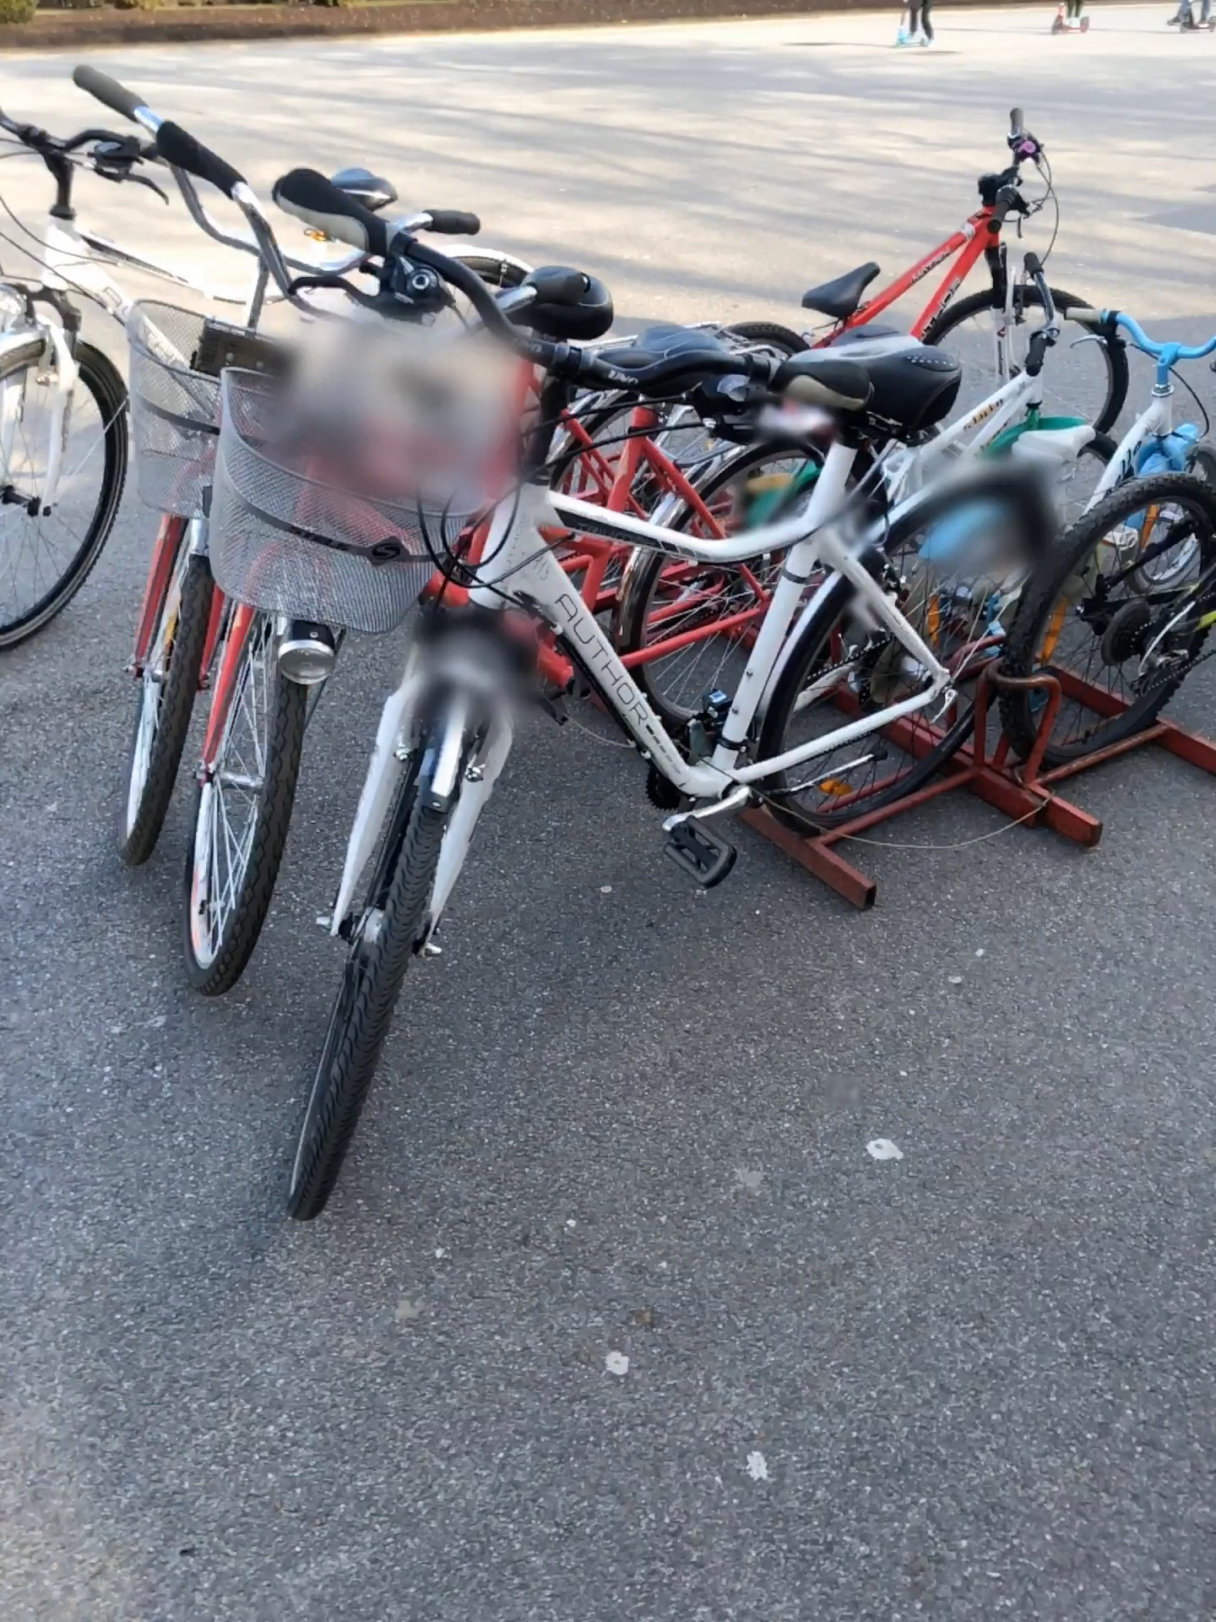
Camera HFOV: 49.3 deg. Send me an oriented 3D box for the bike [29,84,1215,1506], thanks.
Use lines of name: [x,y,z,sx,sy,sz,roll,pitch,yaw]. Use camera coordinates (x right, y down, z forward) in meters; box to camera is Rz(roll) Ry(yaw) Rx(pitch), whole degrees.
bike: [0.272,-0.225,1.738,0.620,1.163,1.605,25,40,34]
